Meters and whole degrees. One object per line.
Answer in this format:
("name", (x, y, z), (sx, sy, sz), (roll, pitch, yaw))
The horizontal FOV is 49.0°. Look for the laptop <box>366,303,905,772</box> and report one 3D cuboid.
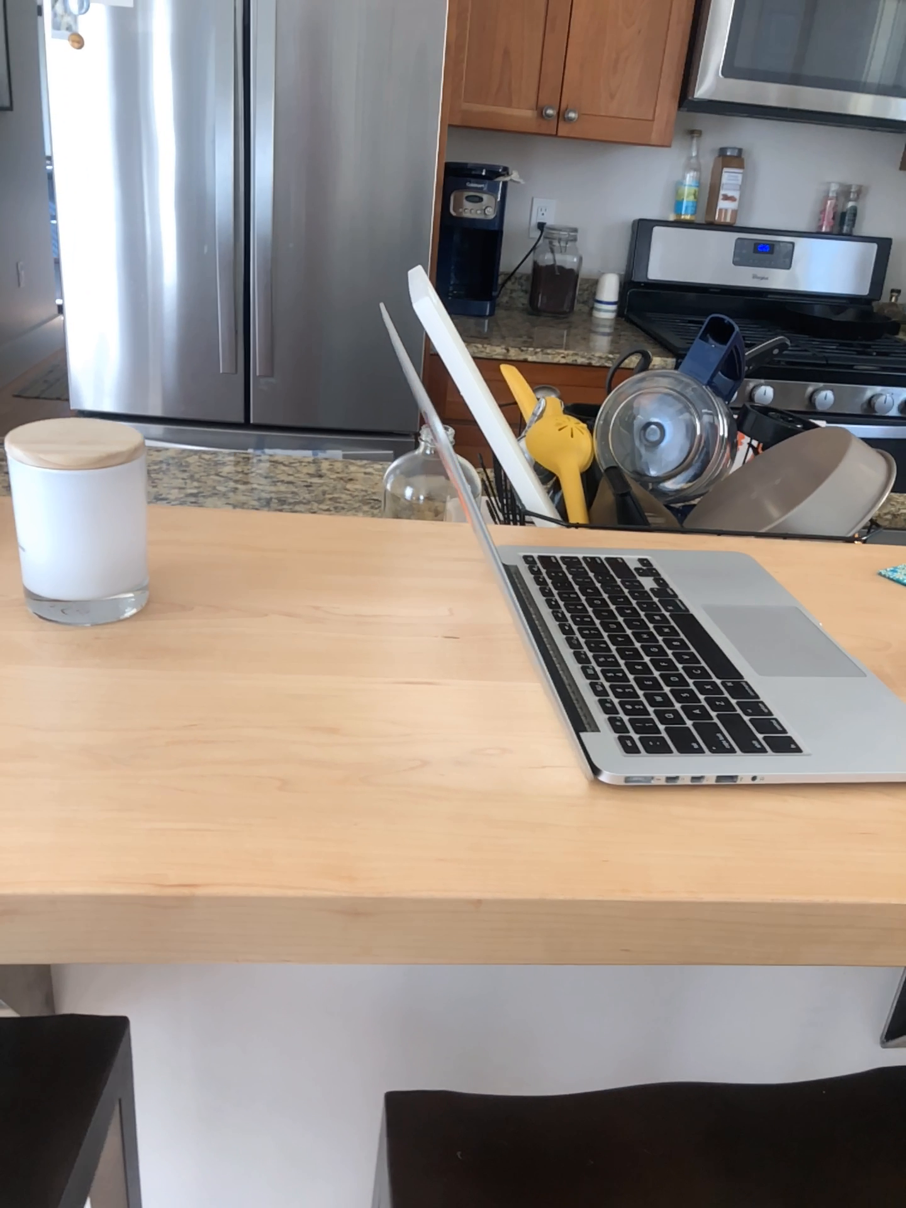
("laptop", (0.120, -0.064, 0.657), (0.323, 0.188, 0.324), (1, 26, -9))
